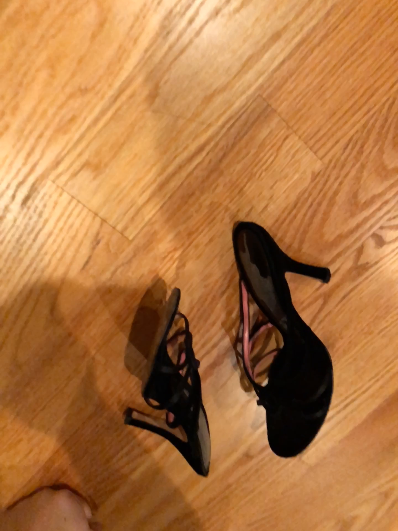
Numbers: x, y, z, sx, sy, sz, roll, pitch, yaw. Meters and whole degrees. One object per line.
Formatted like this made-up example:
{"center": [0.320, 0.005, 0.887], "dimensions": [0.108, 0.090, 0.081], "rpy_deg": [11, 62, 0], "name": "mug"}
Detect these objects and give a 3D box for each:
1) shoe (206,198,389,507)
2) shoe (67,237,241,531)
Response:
{"center": [0.081, 0.070, 0.366], "dimensions": [0.102, 0.104, 0.215], "rpy_deg": [-12, 114, -5], "name": "shoe"}
{"center": [-0.032, 0.111, 0.362], "dimensions": [0.082, 0.104, 0.235], "rpy_deg": [-12, 114, -7], "name": "shoe"}
